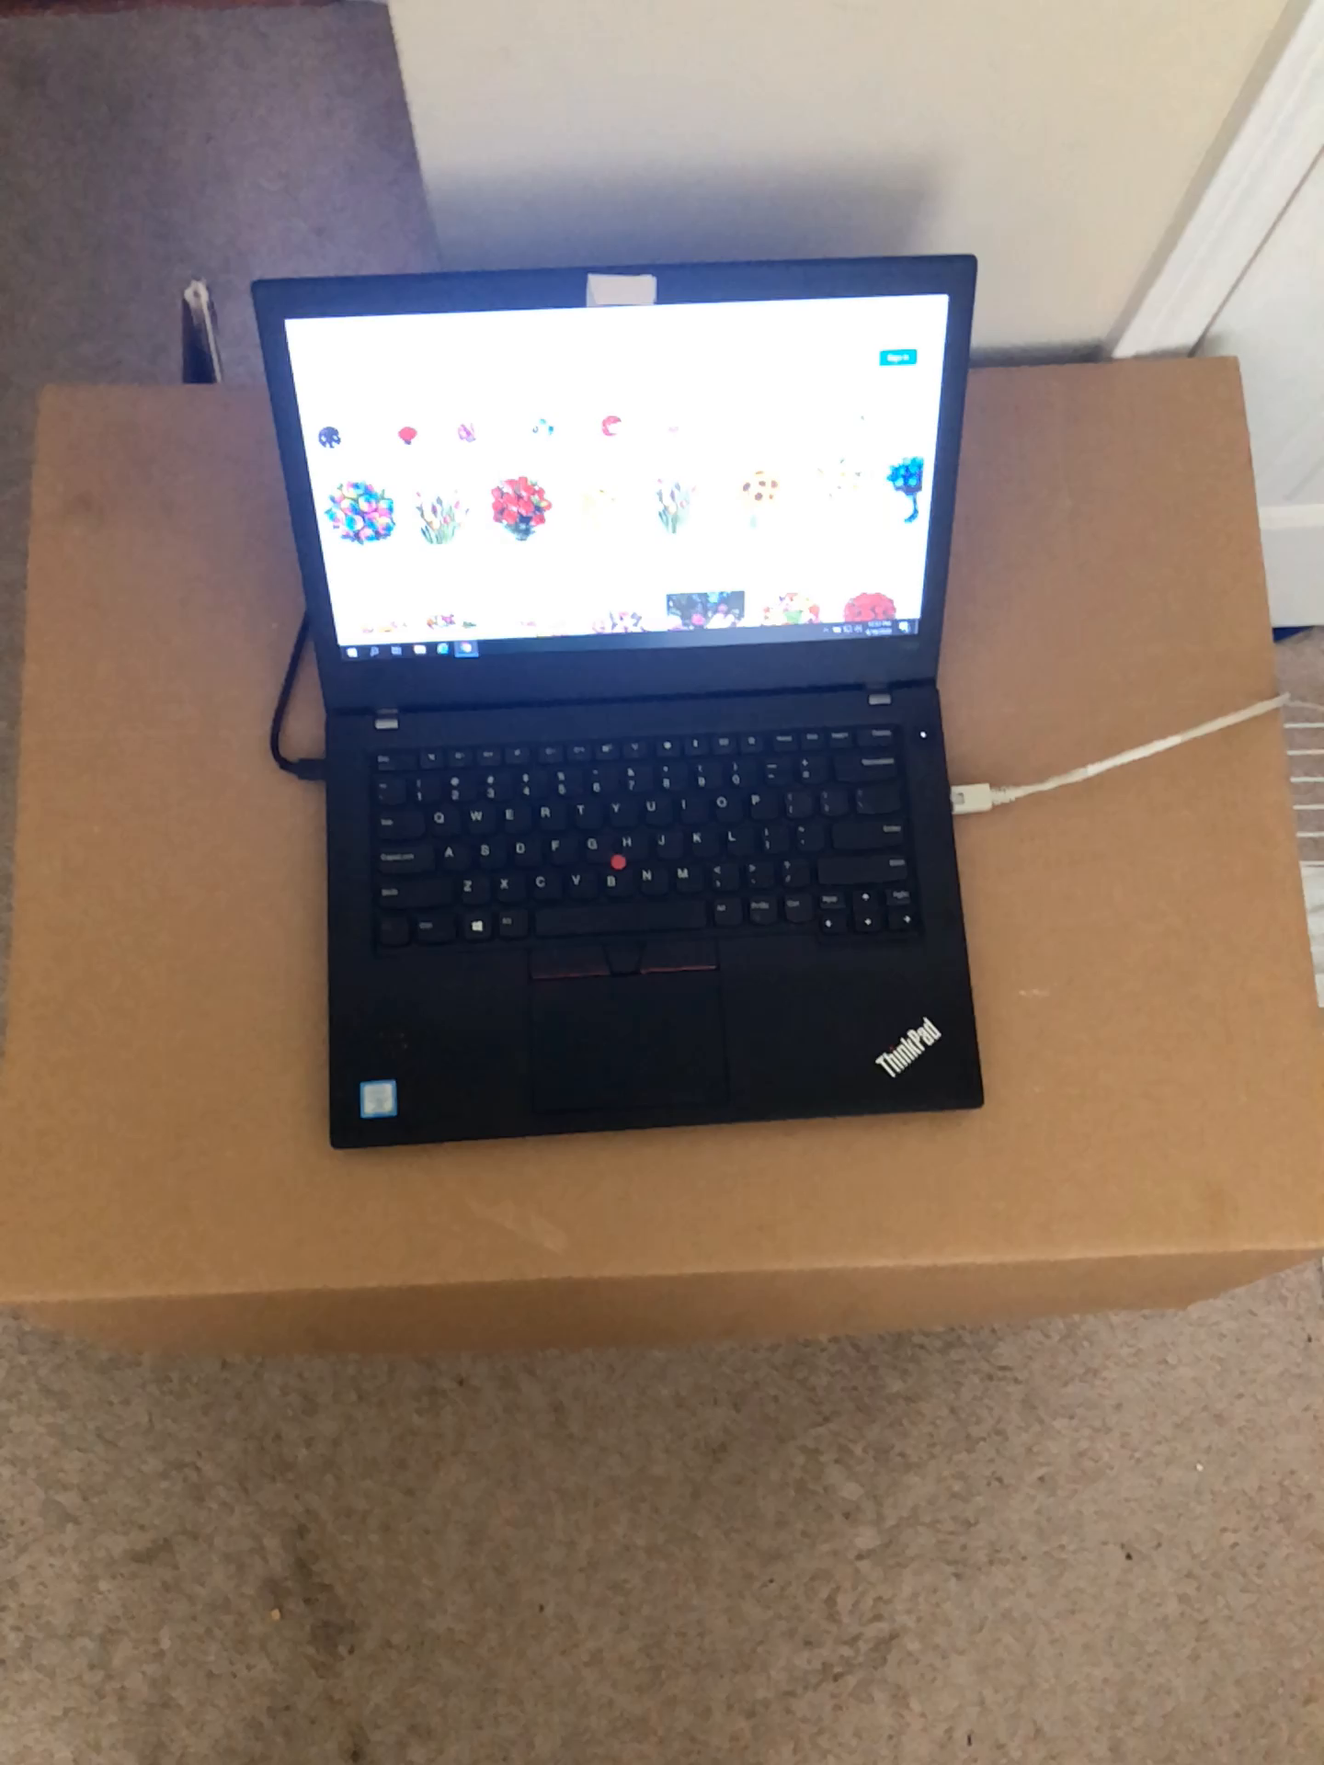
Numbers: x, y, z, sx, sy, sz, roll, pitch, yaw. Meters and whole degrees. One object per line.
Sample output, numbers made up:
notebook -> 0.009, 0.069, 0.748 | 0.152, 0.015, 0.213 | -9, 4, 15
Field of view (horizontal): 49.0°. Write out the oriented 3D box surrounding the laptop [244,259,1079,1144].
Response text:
laptop -> -0.011, -0.076, 0.678 | 0.322, 0.159, 0.364 | -3, 77, -2
